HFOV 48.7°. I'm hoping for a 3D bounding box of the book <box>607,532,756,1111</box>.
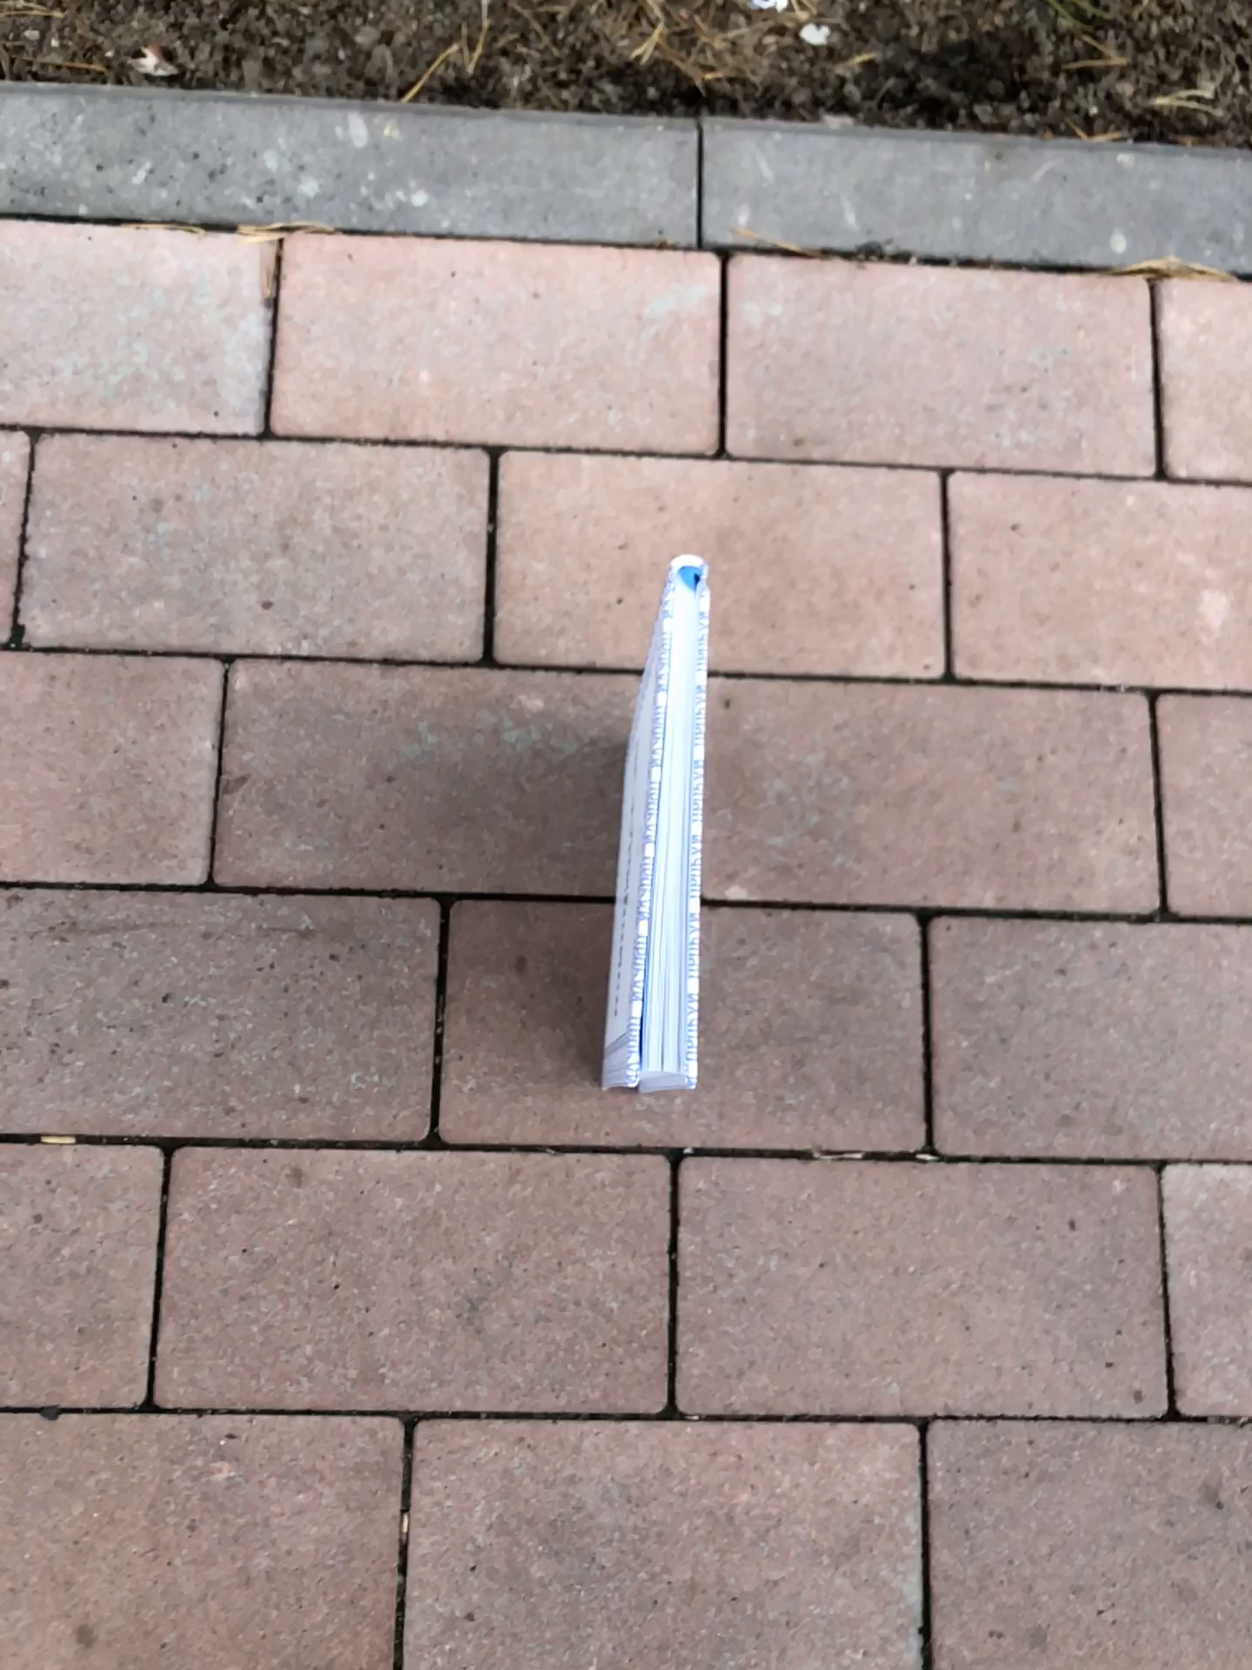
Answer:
[{"bbox_3d":[0.014,0.013,0.452,0.022,0.197,0.151,4,78,-3],"label":"book"}]
